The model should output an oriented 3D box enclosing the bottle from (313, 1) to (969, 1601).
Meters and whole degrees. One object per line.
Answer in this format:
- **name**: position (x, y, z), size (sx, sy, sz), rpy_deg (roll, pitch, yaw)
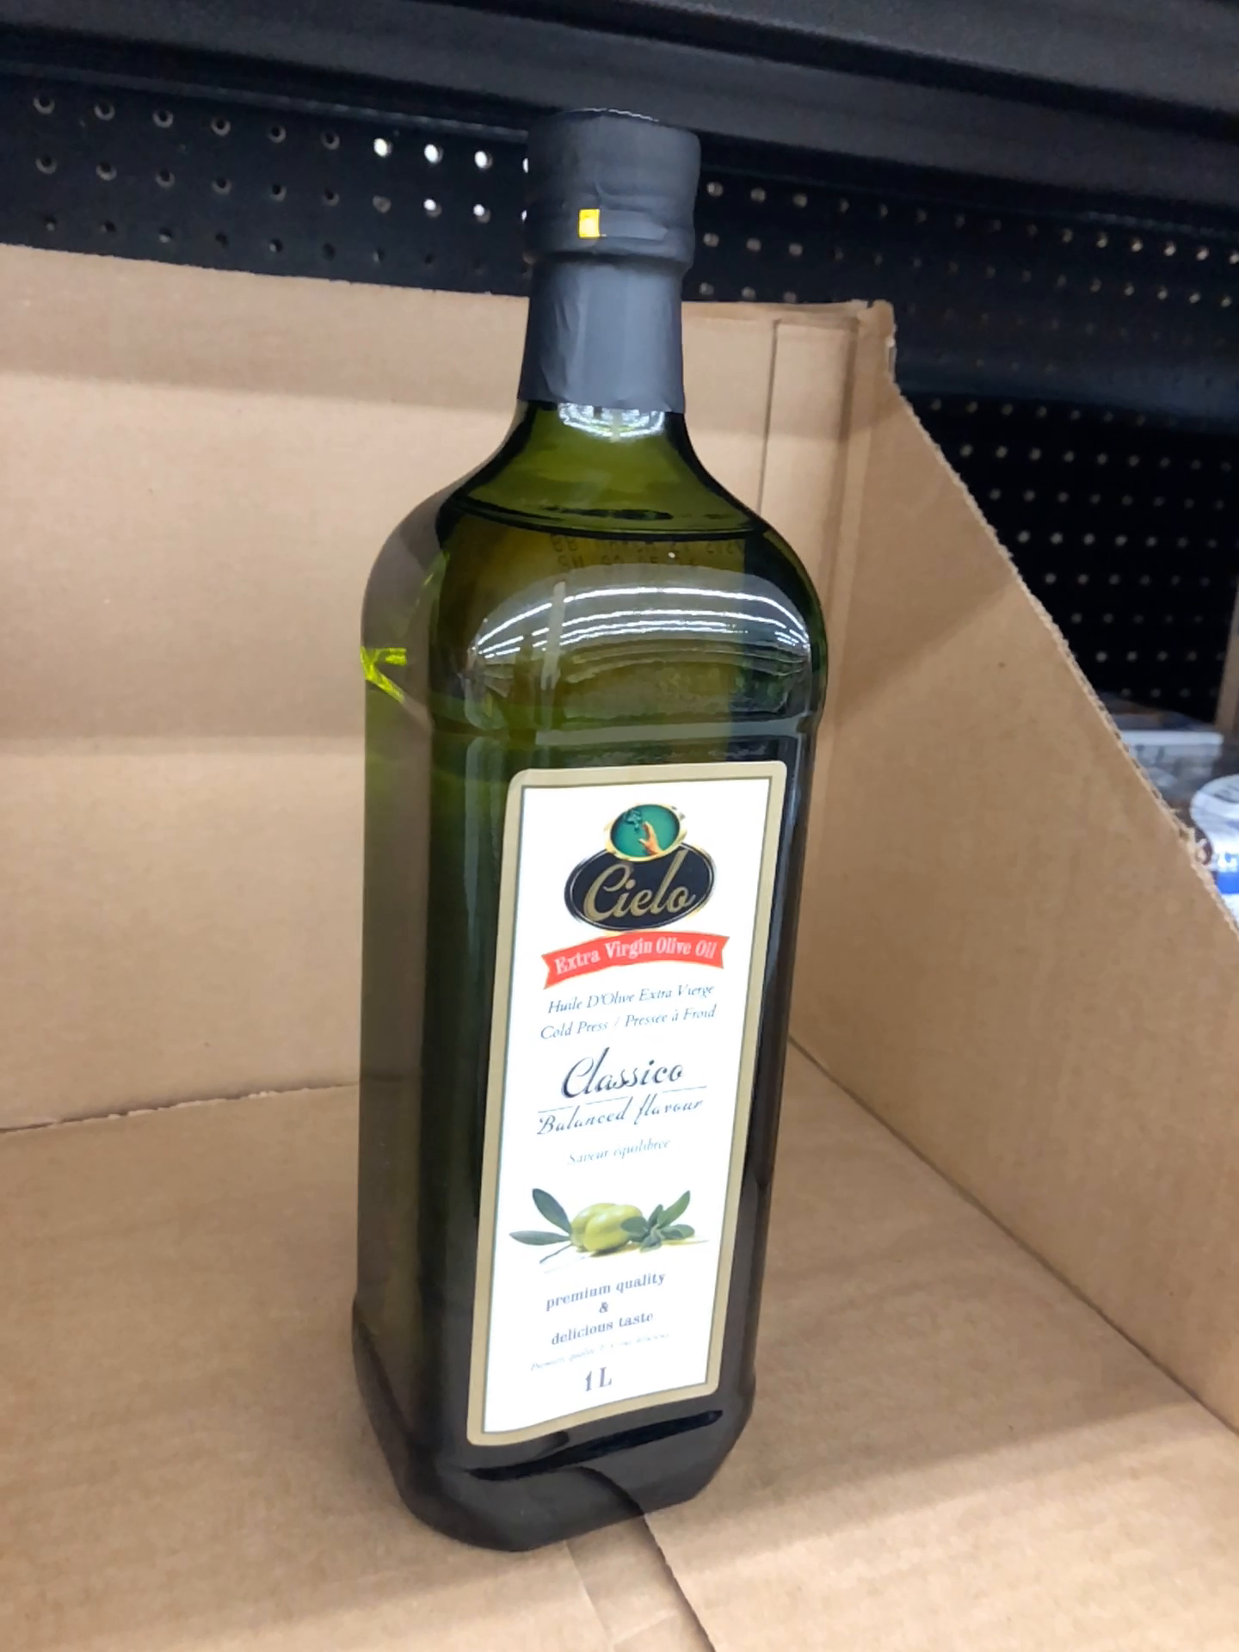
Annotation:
- **bottle**: position (-0.010, 0.006, 0.289), size (0.090, 0.288, 0.080), rpy_deg (-4, 20, -24)
